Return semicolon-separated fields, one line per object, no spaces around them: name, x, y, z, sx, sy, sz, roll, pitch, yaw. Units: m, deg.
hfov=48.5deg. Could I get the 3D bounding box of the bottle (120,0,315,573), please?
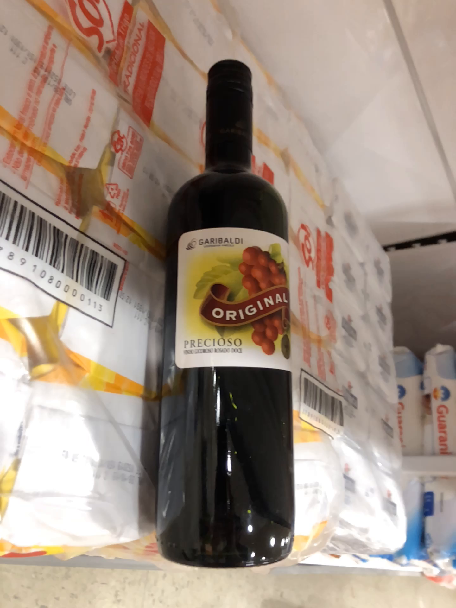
bottle;-0.009;-0.023;0.314;0.081;0.069;0.320;9;72;-30
